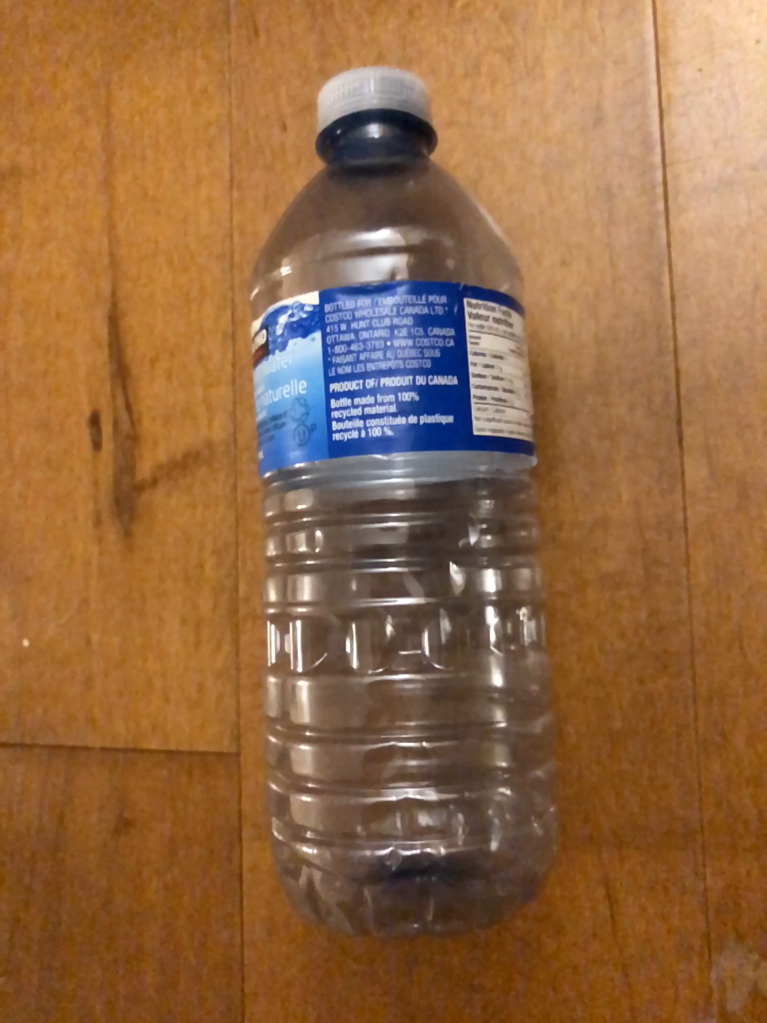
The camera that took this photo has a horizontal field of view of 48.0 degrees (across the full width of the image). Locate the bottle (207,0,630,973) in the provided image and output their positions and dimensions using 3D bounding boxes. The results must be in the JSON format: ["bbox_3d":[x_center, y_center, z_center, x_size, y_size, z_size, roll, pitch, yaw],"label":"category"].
[{"bbox_3d":[0.001,-0.013,0.210,0.070,0.070,0.200,0,83,-23],"label":"bottle"}]
